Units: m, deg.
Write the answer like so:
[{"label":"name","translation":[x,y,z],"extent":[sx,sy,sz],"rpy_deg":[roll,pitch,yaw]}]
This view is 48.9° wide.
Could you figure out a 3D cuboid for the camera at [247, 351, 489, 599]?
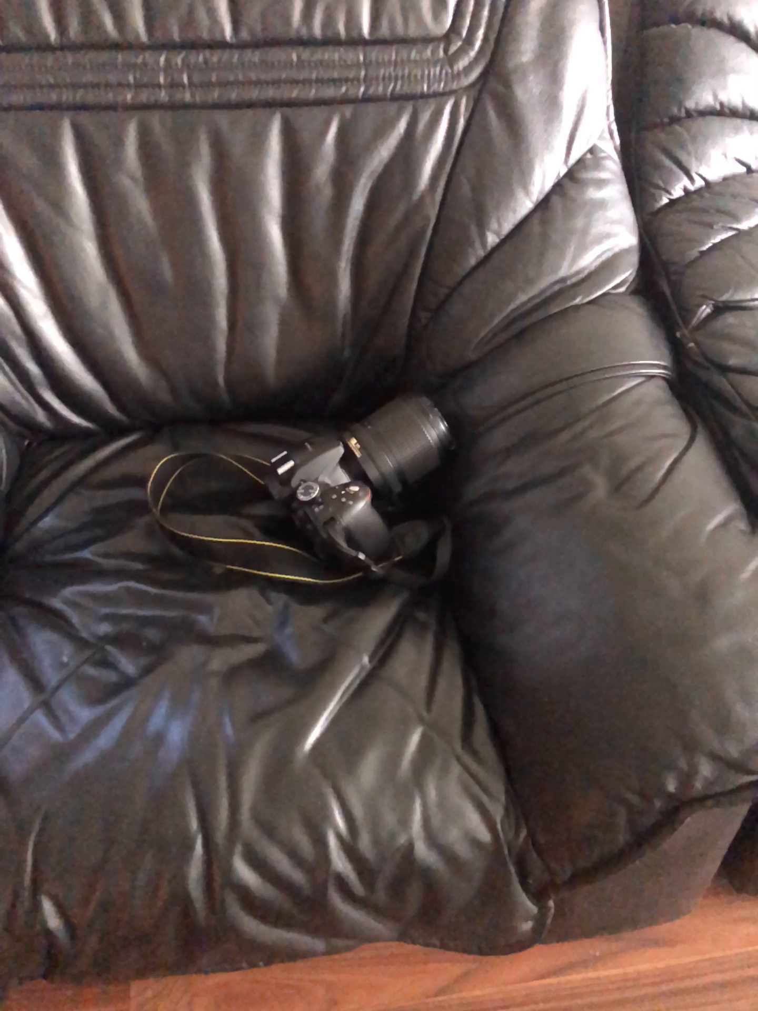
[{"label":"camera","translation":[-0.009,-0.032,0.849],"extent":[0.170,0.130,0.140],"rpy_deg":[-33,50,-7]}]
